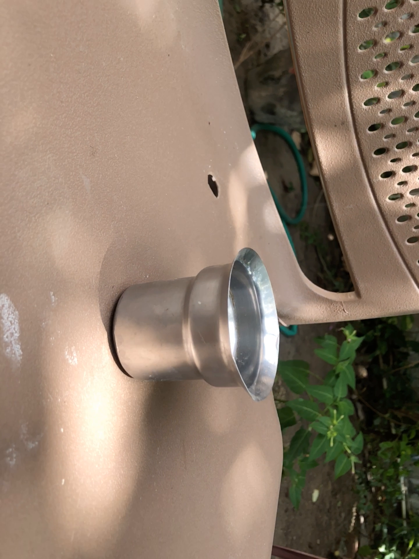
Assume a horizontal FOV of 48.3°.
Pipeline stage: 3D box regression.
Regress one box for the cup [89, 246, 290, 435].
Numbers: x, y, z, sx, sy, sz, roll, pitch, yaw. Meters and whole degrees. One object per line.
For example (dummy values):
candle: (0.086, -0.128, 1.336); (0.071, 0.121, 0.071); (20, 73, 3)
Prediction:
cup: (-0.007, 0.025, 0.217); (0.060, 0.069, 0.070); (3, 84, -63)
